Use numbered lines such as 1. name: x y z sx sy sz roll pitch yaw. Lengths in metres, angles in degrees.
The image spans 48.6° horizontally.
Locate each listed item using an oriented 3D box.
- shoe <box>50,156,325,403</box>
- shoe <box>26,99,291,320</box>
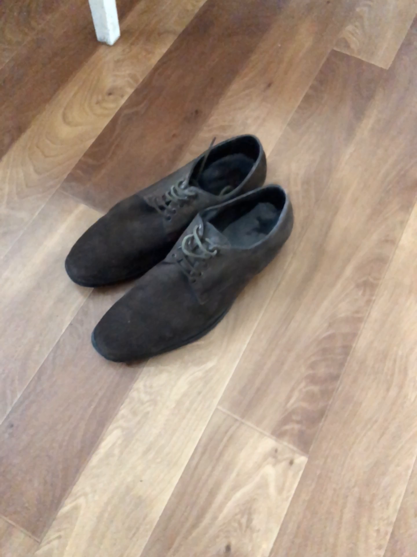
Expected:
1. shoe: -0.017 -0.004 0.575 0.310 0.100 0.120 -38 73 -17
2. shoe: -0.056 -0.095 0.611 0.310 0.100 0.120 -34 71 -16
